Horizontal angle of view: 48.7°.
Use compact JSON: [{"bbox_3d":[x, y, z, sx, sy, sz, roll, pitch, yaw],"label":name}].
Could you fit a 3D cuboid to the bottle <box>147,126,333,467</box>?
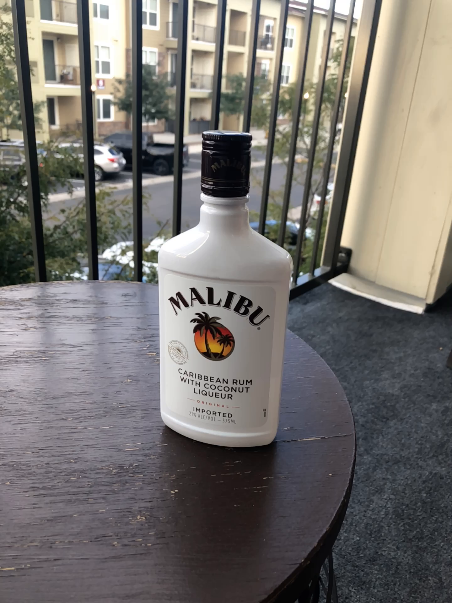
[{"bbox_3d":[0.003,0.002,0.329,0.100,0.210,0.045,9,25,10],"label":"bottle"}]
